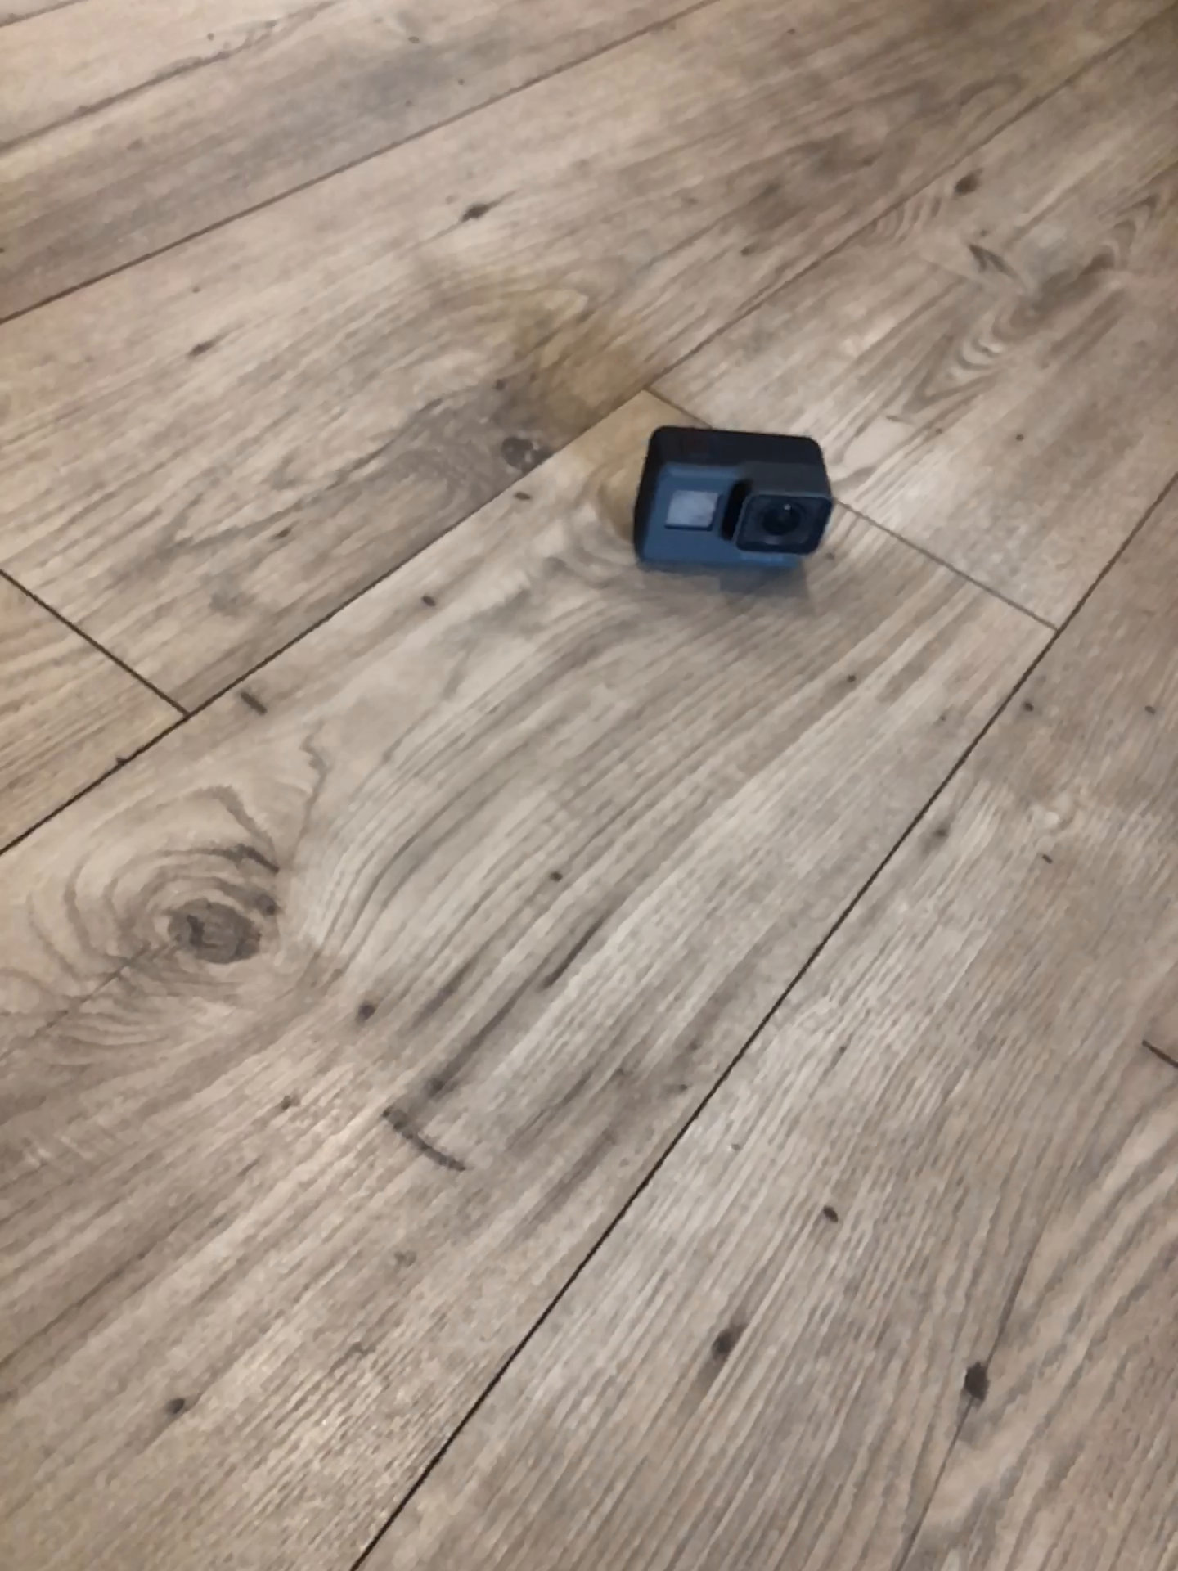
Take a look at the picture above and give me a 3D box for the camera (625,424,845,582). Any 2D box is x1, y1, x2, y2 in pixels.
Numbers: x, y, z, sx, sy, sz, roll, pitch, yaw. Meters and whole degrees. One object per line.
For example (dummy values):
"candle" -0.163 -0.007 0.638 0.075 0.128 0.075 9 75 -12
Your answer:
"camera" 0.050 -0.098 0.460 0.065 0.040 0.032 1 53 -10
